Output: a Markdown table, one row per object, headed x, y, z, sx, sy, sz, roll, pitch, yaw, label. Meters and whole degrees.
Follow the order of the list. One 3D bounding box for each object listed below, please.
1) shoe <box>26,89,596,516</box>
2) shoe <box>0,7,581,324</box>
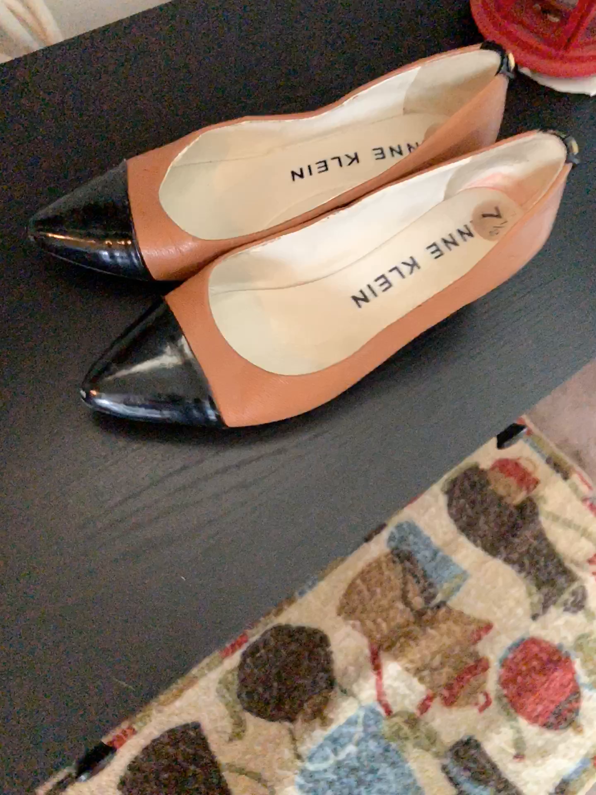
| x | y | z | sx | sy | sz | roll | pitch | yaw | label |
| --- | --- | --- | --- | --- | --- | --- | --- | --- | --- |
| 0.025 | -0.048 | 0.306 | 0.261 | 0.099 | 0.093 | -23 | 72 | -15 | shoe |
| -0.006 | -0.122 | 0.320 | 0.260 | 0.080 | 0.093 | -13 | 69 | -12 | shoe |
